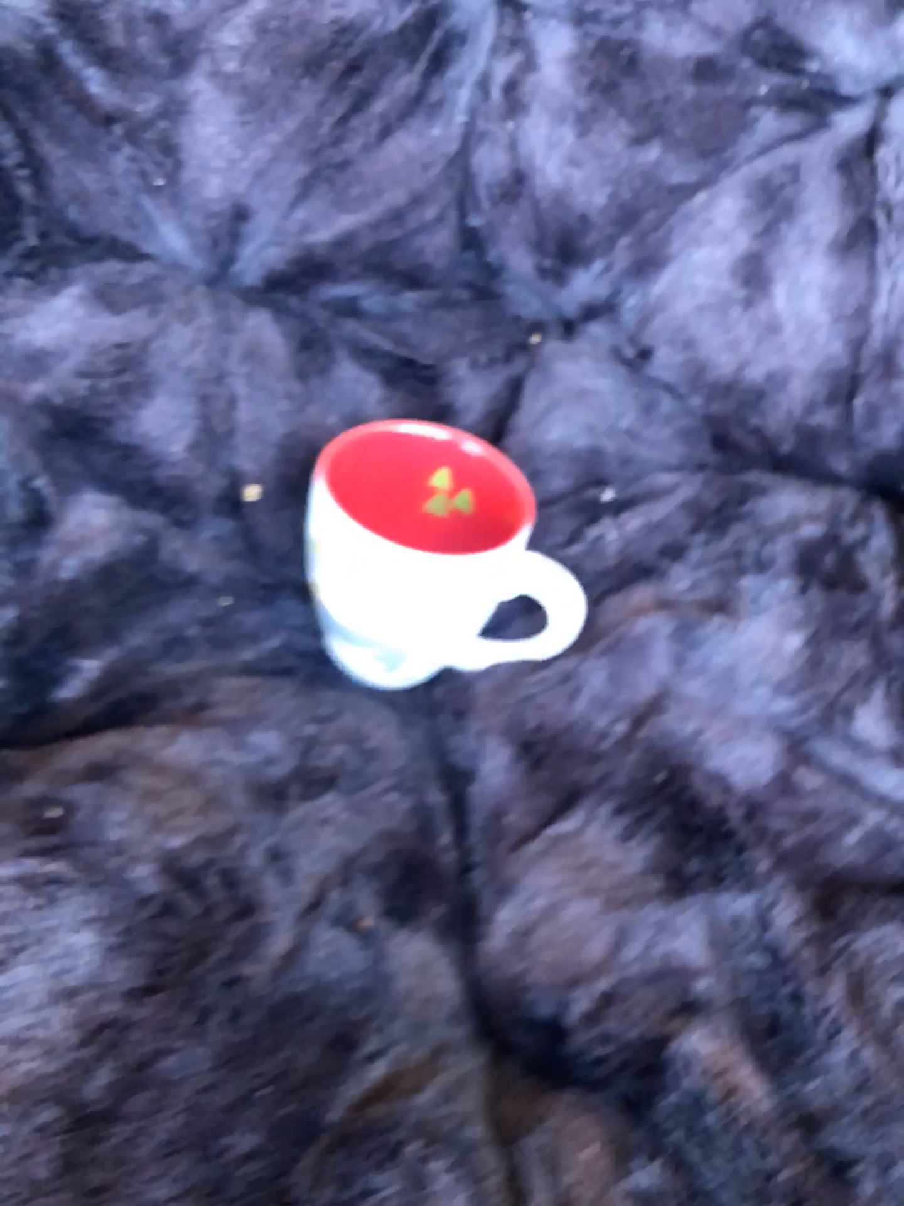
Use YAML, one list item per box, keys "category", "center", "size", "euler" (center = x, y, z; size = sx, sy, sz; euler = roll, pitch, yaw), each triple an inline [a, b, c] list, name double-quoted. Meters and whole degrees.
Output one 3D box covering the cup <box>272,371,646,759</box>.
- category: "cup"
  center: [0.001, -0.019, 0.500]
  size: [0.140, 0.110, 0.100]
  euler: [22, 47, 8]
